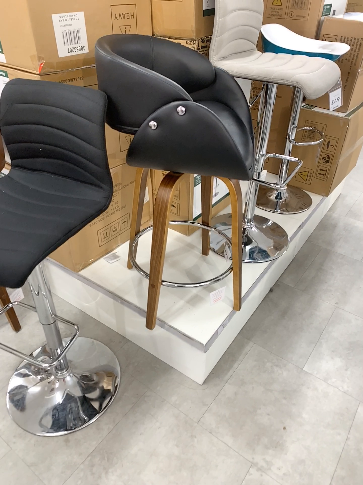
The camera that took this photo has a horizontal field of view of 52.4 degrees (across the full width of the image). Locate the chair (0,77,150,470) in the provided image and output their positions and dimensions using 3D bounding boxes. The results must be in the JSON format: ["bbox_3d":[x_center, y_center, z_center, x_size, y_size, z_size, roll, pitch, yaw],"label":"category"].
[{"bbox_3d":[-0.464,0.097,1.129,0.485,1.016,0.470,15,37,24],"label":"chair"}]

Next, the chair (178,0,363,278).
[{"bbox_3d":[0.306,-0.437,1.415,0.438,0.966,0.437,22,38,26],"label":"chair"}]

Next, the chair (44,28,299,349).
[{"bbox_3d":[-0.005,-0.173,1.281,0.546,0.897,0.570,5,38,4],"label":"chair"}]
